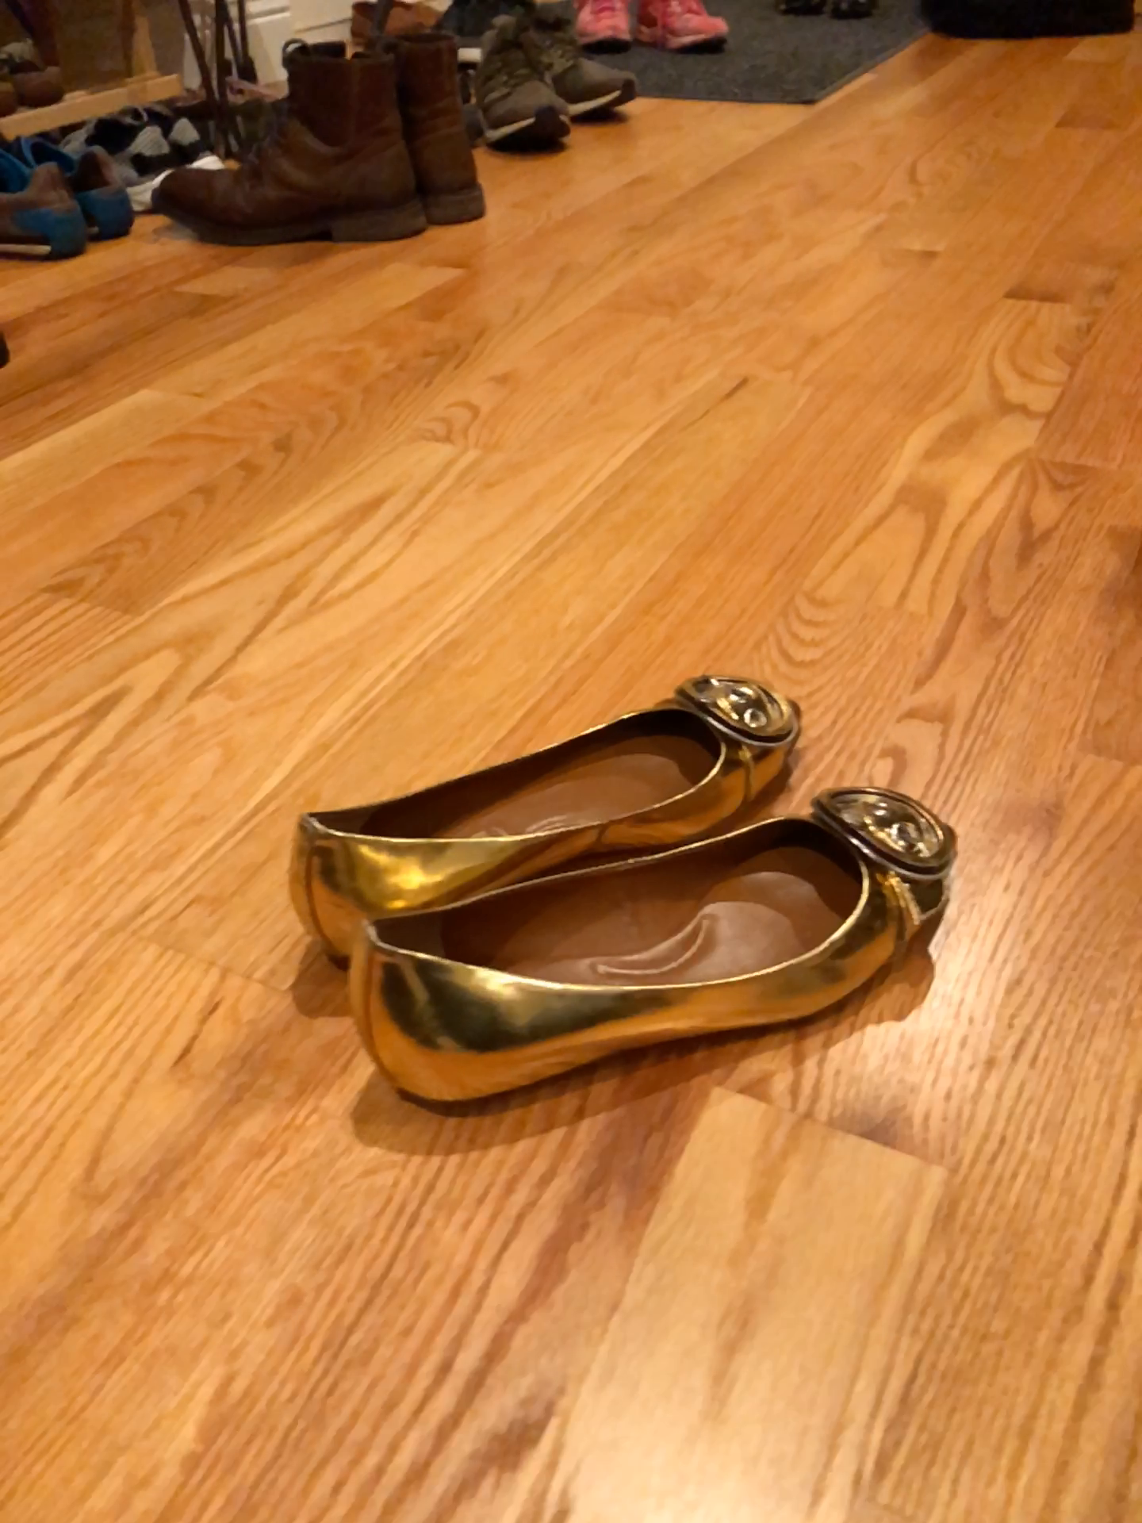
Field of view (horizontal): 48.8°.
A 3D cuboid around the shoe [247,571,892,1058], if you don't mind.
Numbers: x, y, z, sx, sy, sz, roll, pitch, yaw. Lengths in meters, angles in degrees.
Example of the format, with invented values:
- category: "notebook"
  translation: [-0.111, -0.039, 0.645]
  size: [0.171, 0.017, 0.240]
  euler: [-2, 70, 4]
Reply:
- category: "shoe"
  translation: [0.008, 0.008, 0.495]
  size: [0.244, 0.066, 0.083]
  euler: [-26, 43, -28]

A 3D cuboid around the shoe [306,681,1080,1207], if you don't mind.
- category: "shoe"
  translation: [0.045, 0.052, 0.434]
  size: [0.249, 0.066, 0.077]
  euler: [-18, 39, -19]
